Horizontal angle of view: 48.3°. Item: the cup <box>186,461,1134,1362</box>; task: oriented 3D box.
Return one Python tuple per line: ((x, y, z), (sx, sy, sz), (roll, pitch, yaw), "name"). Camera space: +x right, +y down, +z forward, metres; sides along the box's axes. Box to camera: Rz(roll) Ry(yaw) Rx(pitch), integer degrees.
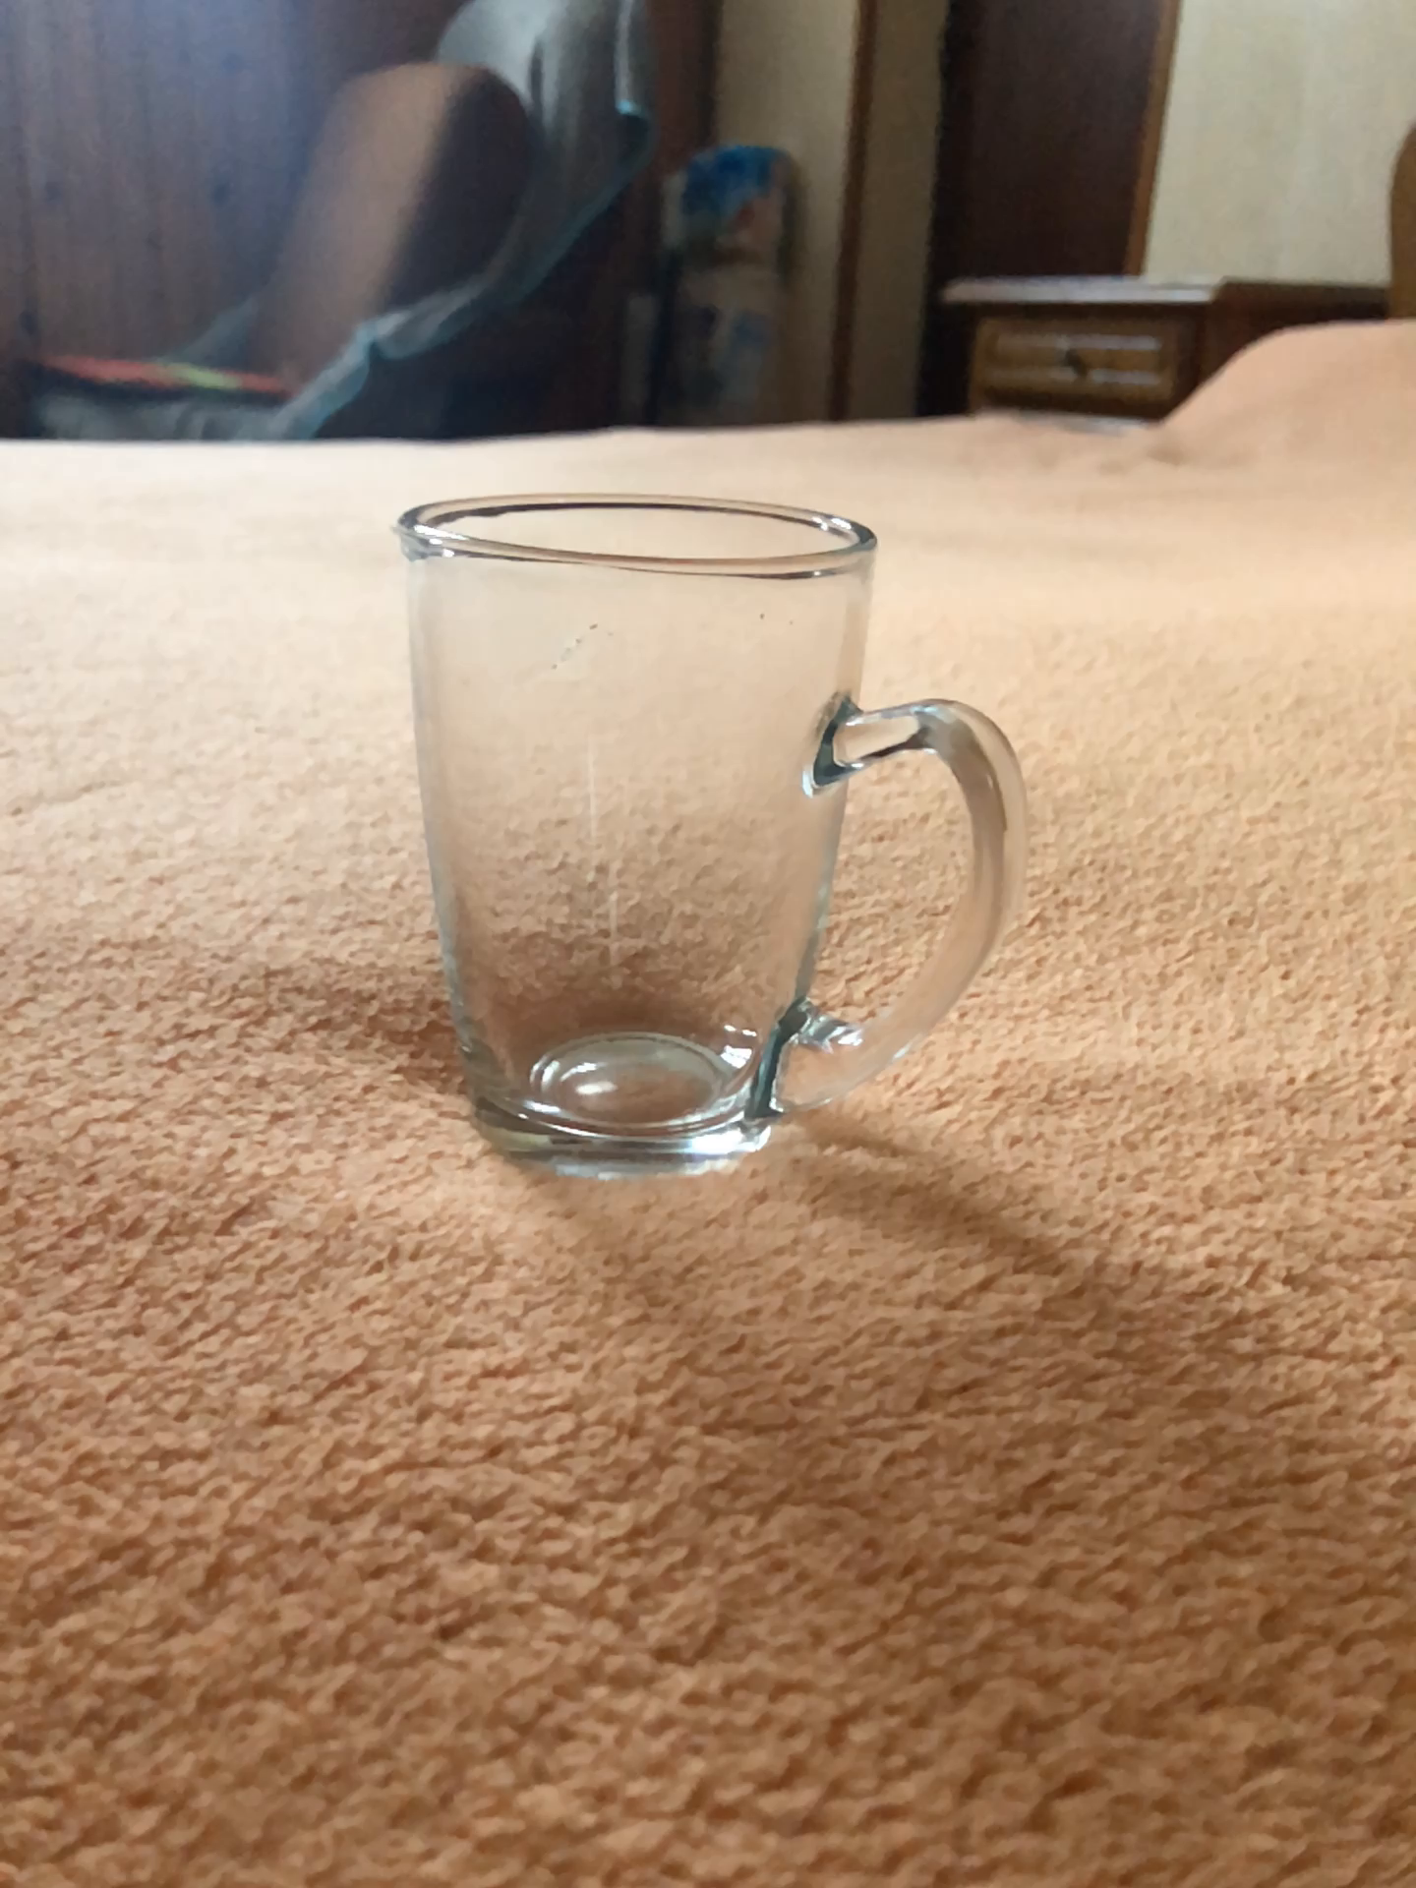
((-0.006, -0.014, 0.219), (0.100, 0.090, 0.070), (14, 24, 26), "cup")
